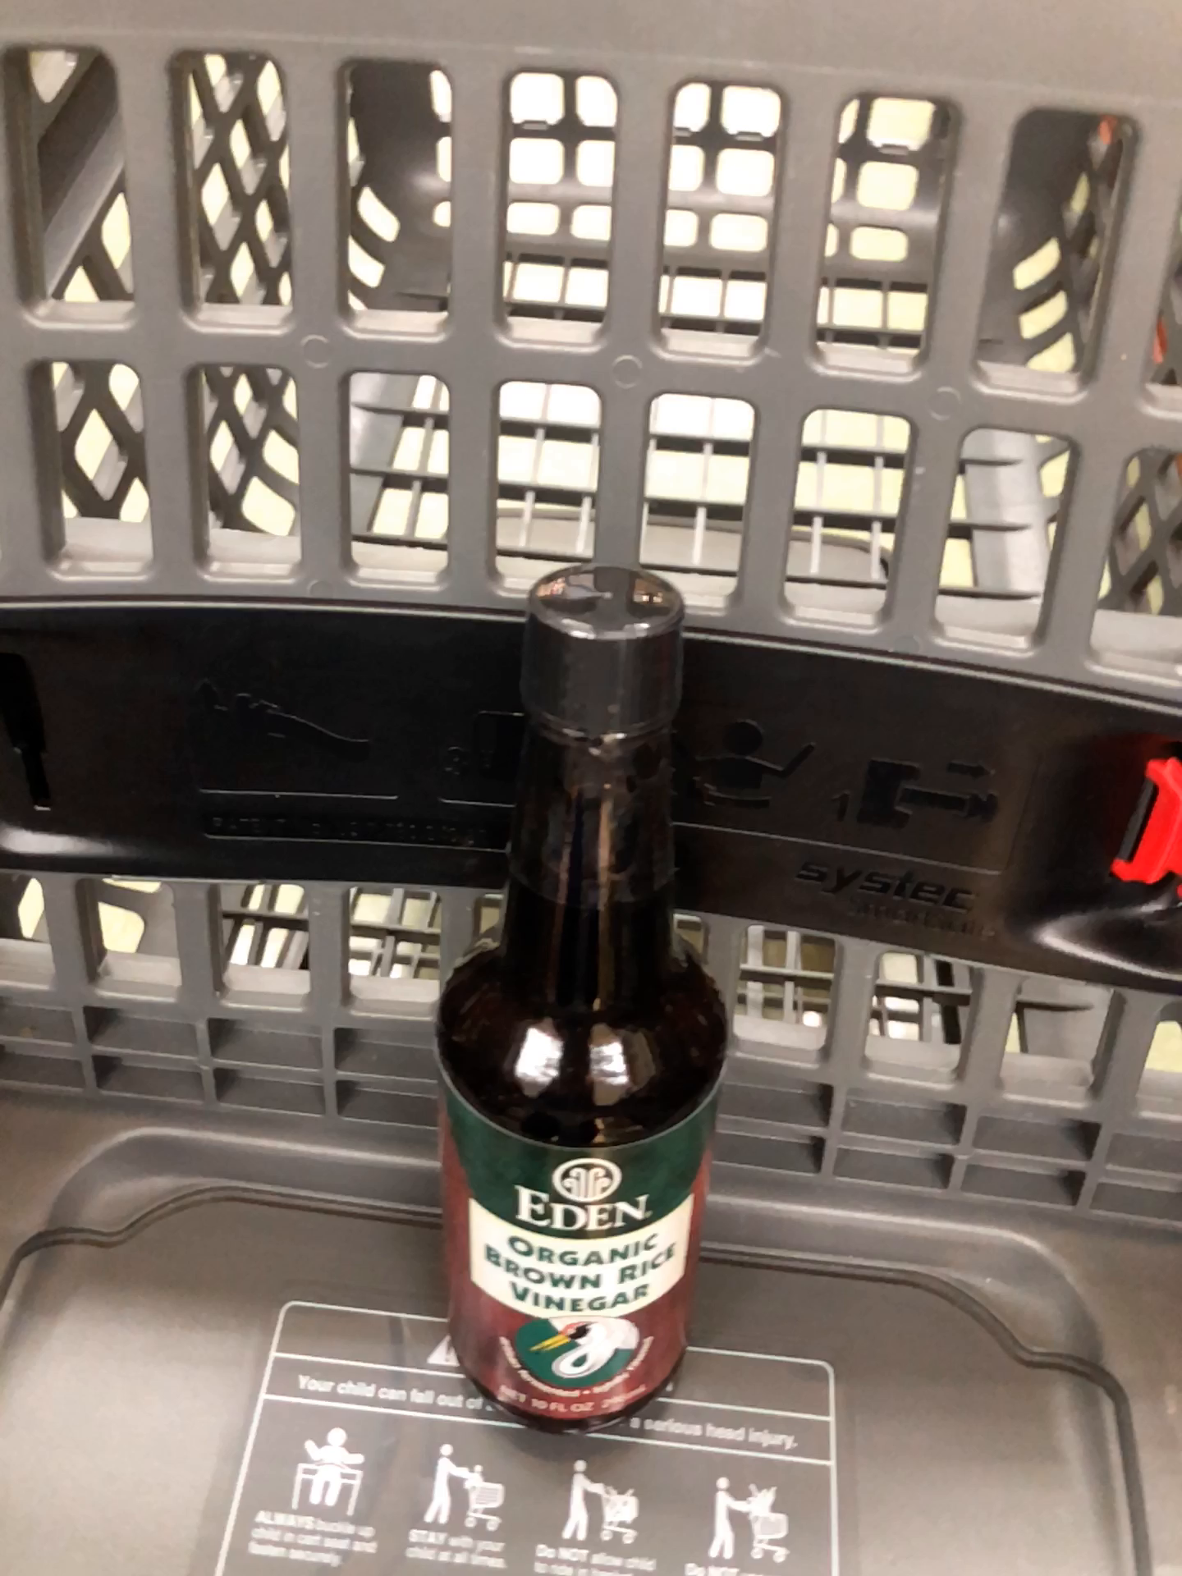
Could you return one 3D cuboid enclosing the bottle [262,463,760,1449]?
[{"bbox_3d":[-0.012,0.040,0.262,0.070,0.190,0.070,1,30,-1],"label":"bottle"}]
